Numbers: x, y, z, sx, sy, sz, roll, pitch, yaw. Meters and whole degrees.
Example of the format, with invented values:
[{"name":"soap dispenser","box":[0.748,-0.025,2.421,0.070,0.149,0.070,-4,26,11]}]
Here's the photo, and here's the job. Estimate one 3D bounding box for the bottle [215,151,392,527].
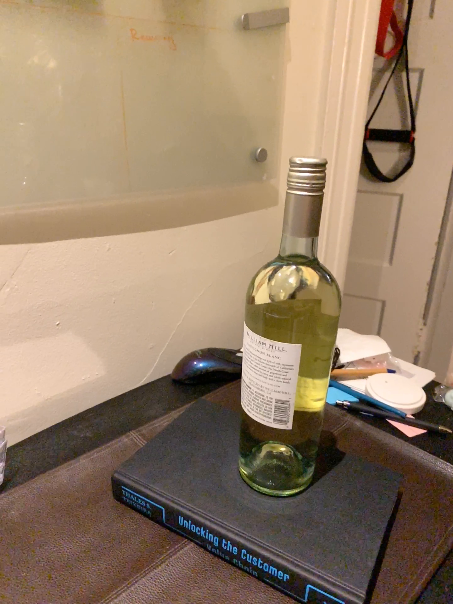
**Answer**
[{"name":"bottle","box":[0.057,0.031,0.406,0.090,0.298,0.090,2,22,-1]}]
